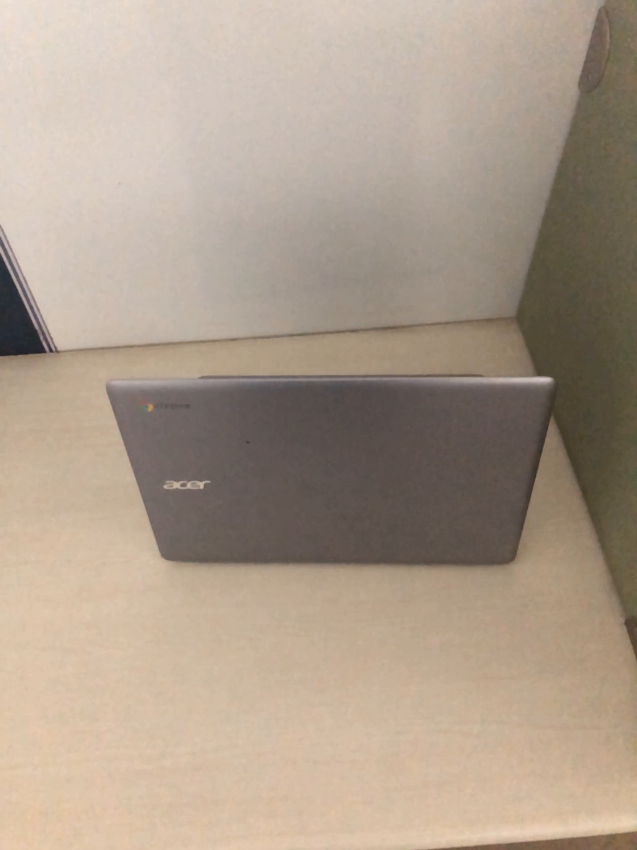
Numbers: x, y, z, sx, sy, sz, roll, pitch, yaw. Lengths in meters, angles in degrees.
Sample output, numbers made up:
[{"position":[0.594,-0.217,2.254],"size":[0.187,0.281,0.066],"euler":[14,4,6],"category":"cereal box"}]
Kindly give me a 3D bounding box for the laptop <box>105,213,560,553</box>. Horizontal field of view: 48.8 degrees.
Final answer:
[{"position":[0.021,-0.035,0.649],"size":[0.321,0.218,0.222],"euler":[1,51,1],"category":"laptop"}]
